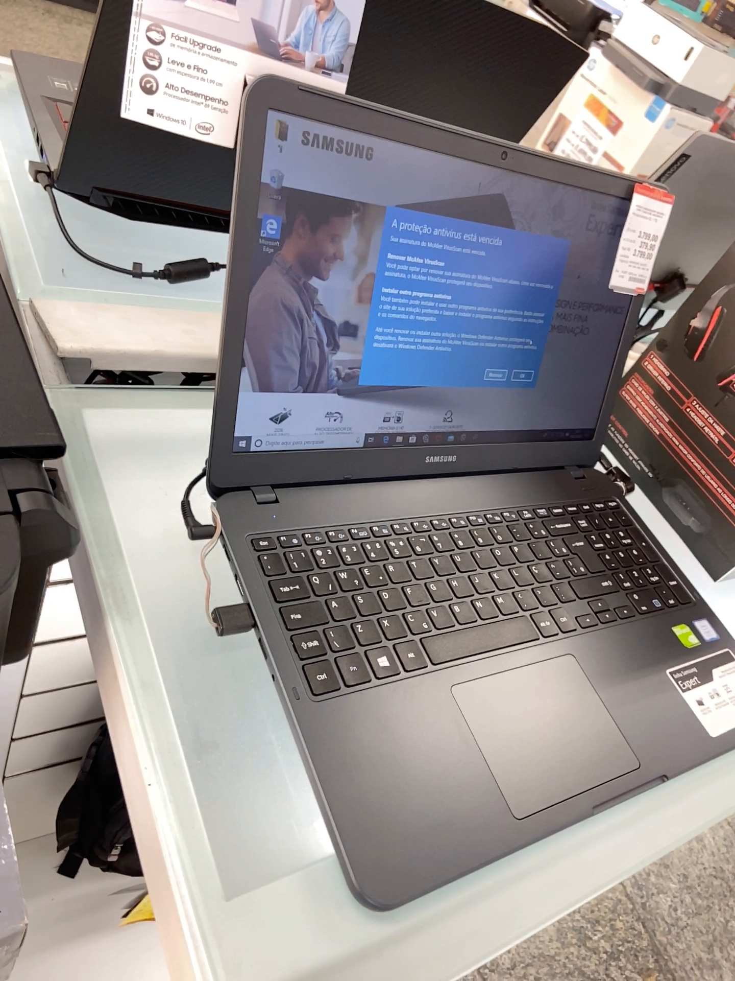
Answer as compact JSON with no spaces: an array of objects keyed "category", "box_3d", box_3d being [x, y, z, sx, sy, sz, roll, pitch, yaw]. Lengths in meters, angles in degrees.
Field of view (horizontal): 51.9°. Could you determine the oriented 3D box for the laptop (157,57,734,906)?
[{"category":"laptop","box_3d":[0.118,-0.032,0.481,0.372,0.207,0.372,-4,51,-35]}]
